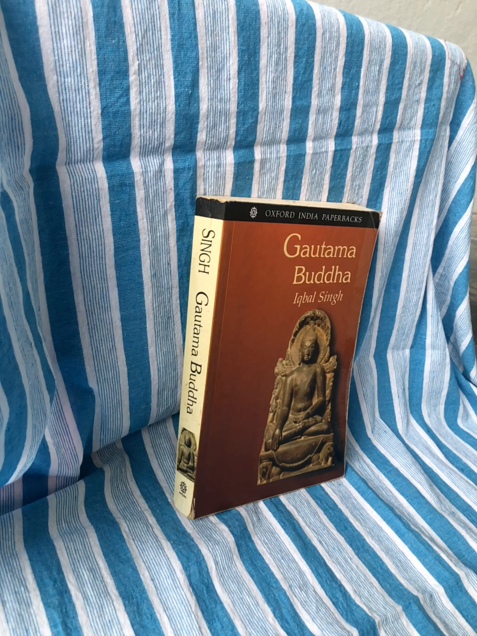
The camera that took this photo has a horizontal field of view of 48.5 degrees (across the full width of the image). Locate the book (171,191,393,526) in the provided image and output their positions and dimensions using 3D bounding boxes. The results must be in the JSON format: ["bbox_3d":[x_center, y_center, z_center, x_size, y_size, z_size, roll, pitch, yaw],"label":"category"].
[{"bbox_3d":[0.029,0.023,0.371,0.141,0.209,0.040,-4,16,-31],"label":"book"}]
